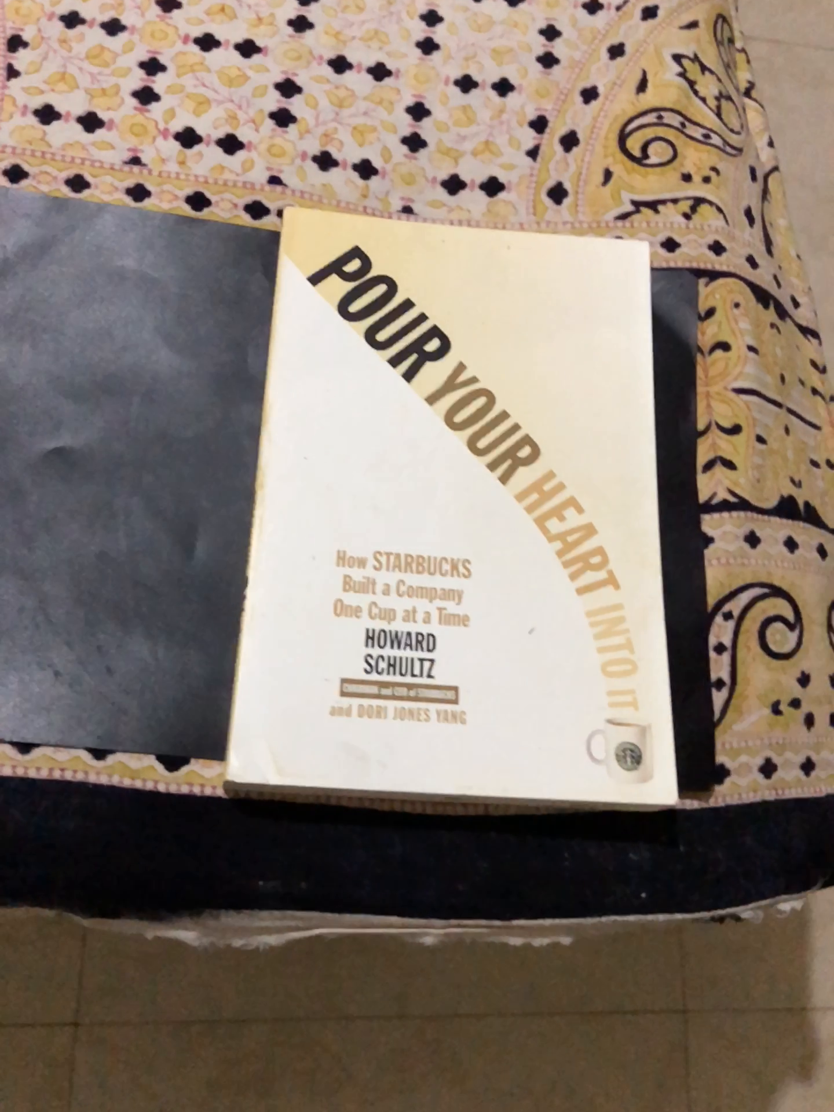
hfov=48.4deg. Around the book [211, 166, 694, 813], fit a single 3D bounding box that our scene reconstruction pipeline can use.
[{"bbox_3d":[0.016,-0.028,0.366,0.160,0.050,0.240,5,70,-7],"label":"book"}]
